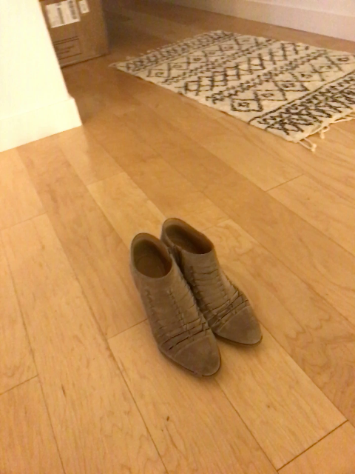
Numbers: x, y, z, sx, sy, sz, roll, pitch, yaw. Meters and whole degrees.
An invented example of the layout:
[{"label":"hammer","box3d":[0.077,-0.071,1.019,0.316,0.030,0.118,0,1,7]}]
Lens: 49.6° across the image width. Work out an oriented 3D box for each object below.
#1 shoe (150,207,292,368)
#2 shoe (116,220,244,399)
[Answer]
[{"label":"shoe","box3d":[0.067,0.075,0.689,0.100,0.119,0.271,-26,43,-18]},{"label":"shoe","box3d":[-0.003,0.110,0.672,0.110,0.129,0.272,-21,41,-13]}]
